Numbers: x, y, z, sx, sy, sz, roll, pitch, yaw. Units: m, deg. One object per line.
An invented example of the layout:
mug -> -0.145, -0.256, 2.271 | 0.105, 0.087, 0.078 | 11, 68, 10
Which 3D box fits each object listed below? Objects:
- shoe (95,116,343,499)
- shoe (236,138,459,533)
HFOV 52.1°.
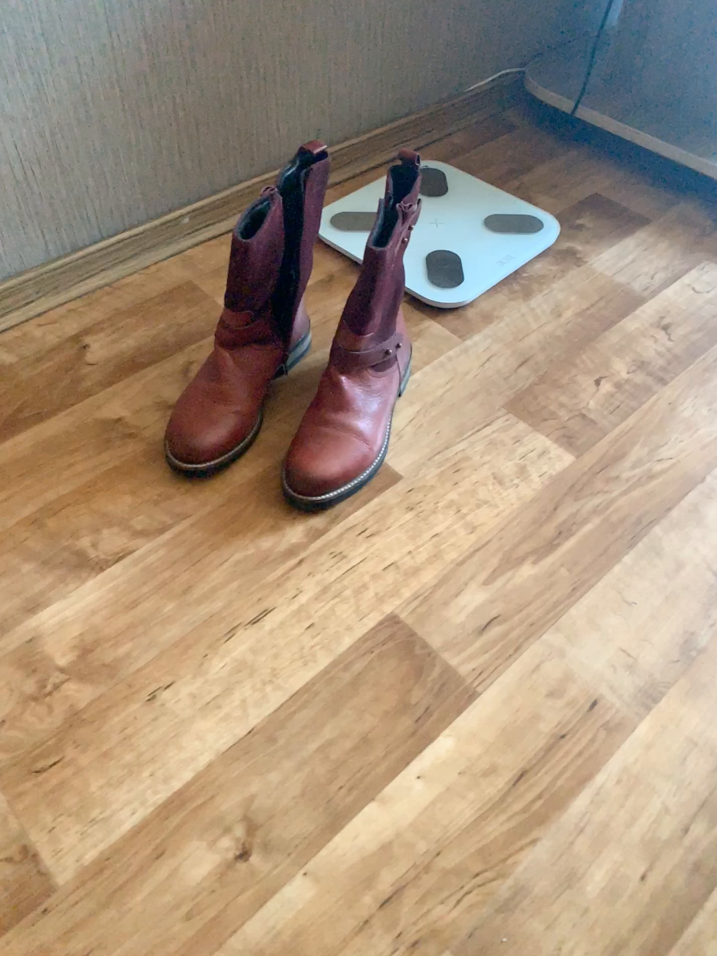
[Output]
shoe -> -0.109, -0.163, 0.710 | 0.100, 0.249, 0.251 | 17, 51, 12
shoe -> -0.002, -0.128, 0.669 | 0.090, 0.239, 0.251 | 17, 51, 12
